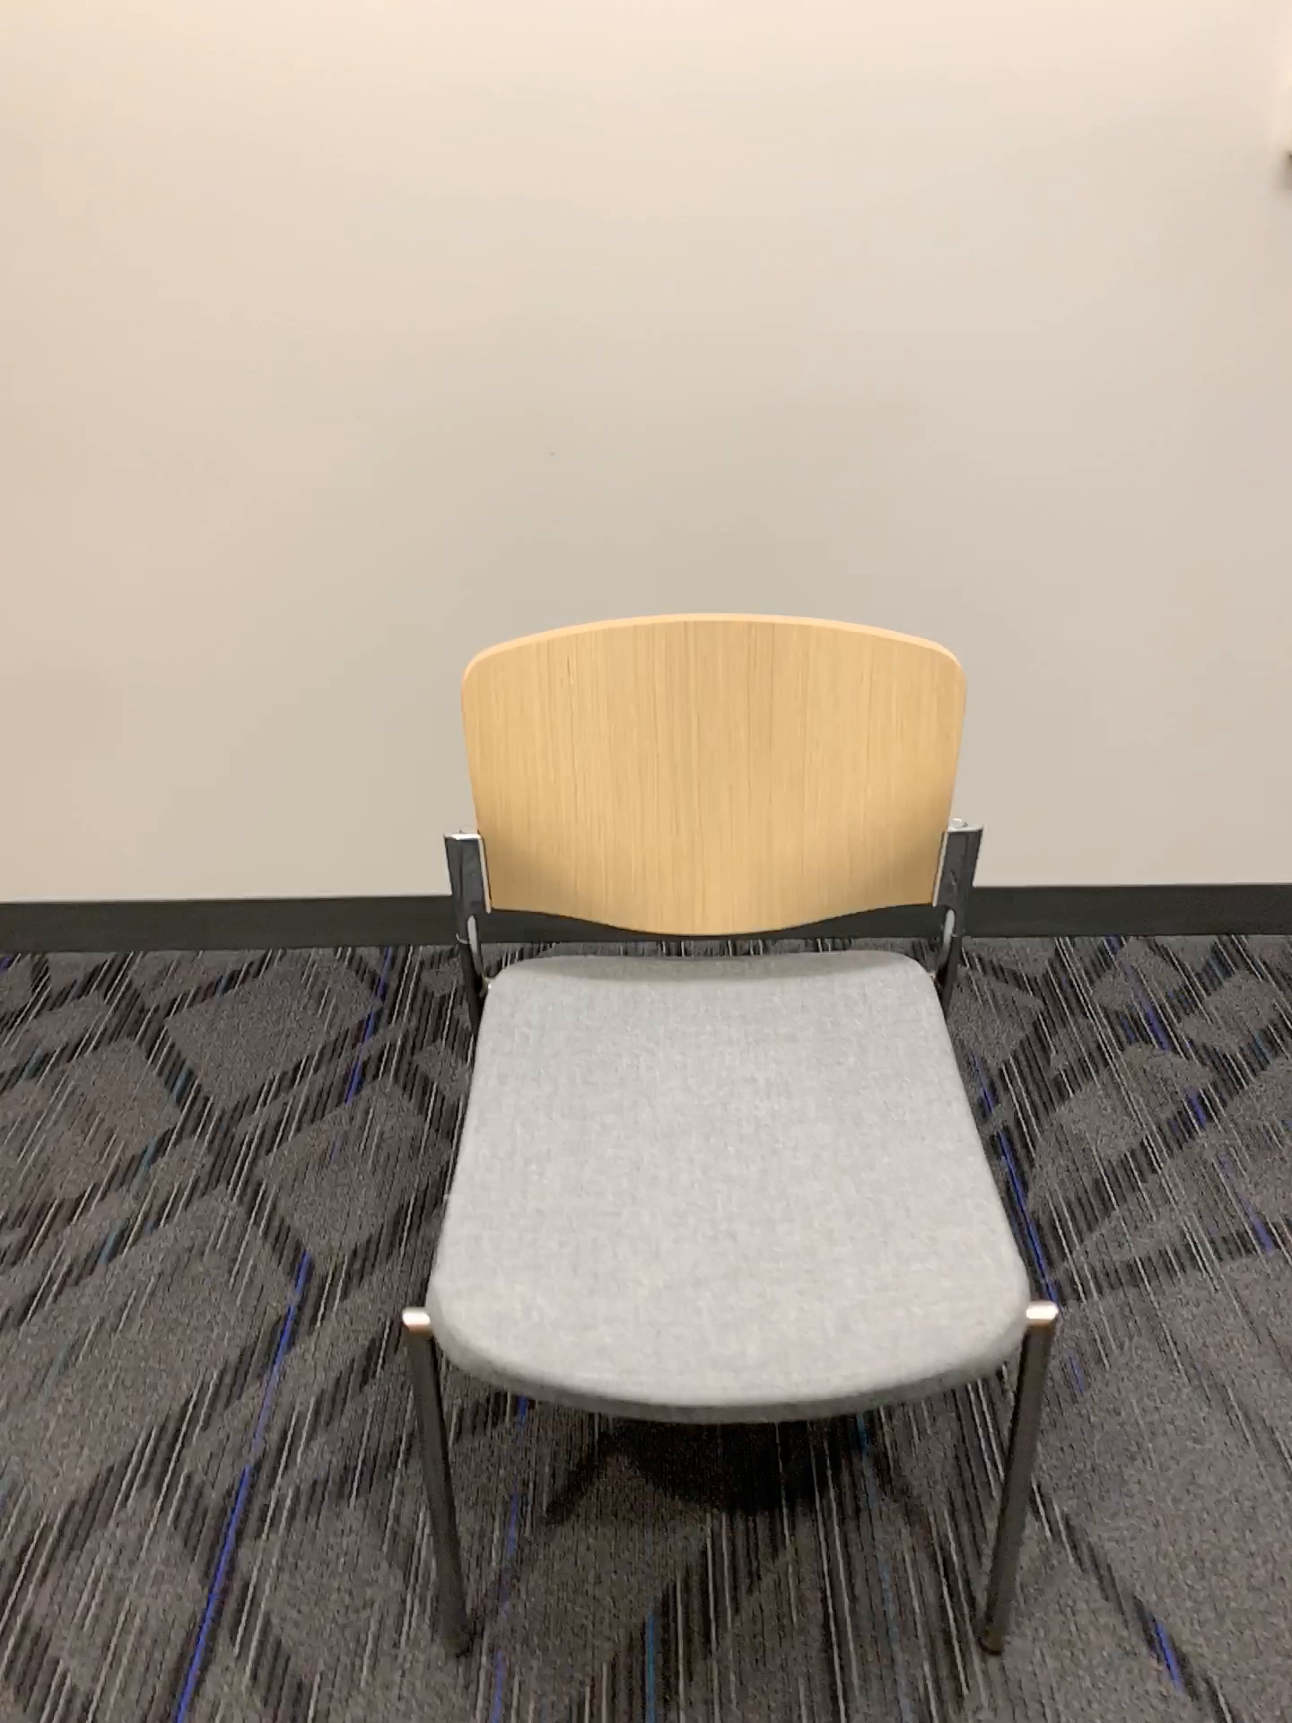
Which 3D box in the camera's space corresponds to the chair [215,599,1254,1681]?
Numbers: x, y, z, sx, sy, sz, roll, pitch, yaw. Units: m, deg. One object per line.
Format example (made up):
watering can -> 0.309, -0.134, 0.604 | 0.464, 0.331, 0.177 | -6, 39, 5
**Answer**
chair -> 0.052, 0.221, 1.117 | 0.554, 0.704, 0.540 | -2, 33, 0
